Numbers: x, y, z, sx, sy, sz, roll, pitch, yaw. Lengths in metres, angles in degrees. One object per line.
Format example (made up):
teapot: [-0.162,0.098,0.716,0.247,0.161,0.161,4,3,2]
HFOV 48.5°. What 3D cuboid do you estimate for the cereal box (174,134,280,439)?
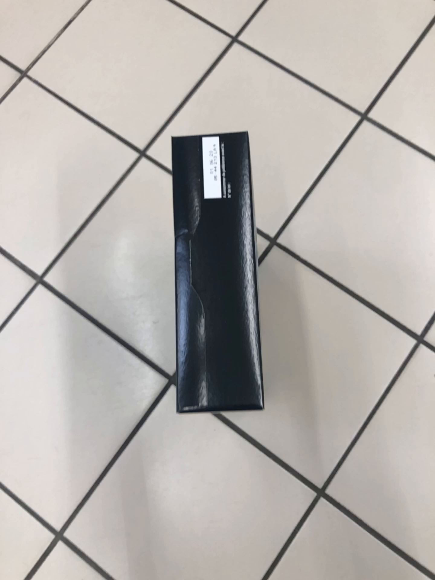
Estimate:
cereal box: [0.010,0.019,0.440,0.060,0.260,0.200,-3,77,2]
